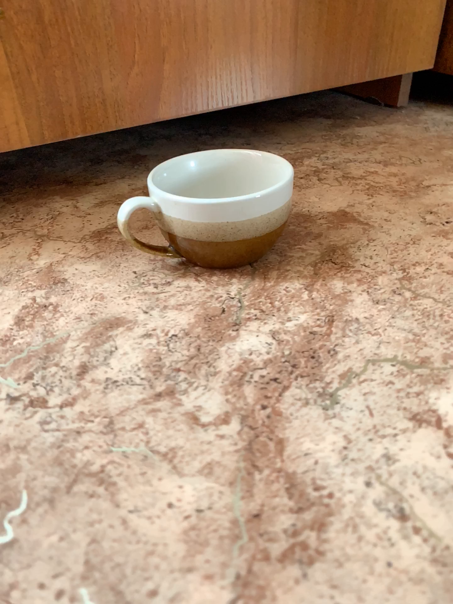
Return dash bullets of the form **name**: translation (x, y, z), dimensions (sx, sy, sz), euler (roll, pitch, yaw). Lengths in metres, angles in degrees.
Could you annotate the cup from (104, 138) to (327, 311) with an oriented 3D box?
- **cup**: translation (-0.010, -0.058, 0.311), dimensions (0.115, 0.059, 0.091), euler (-15, 39, -18)
